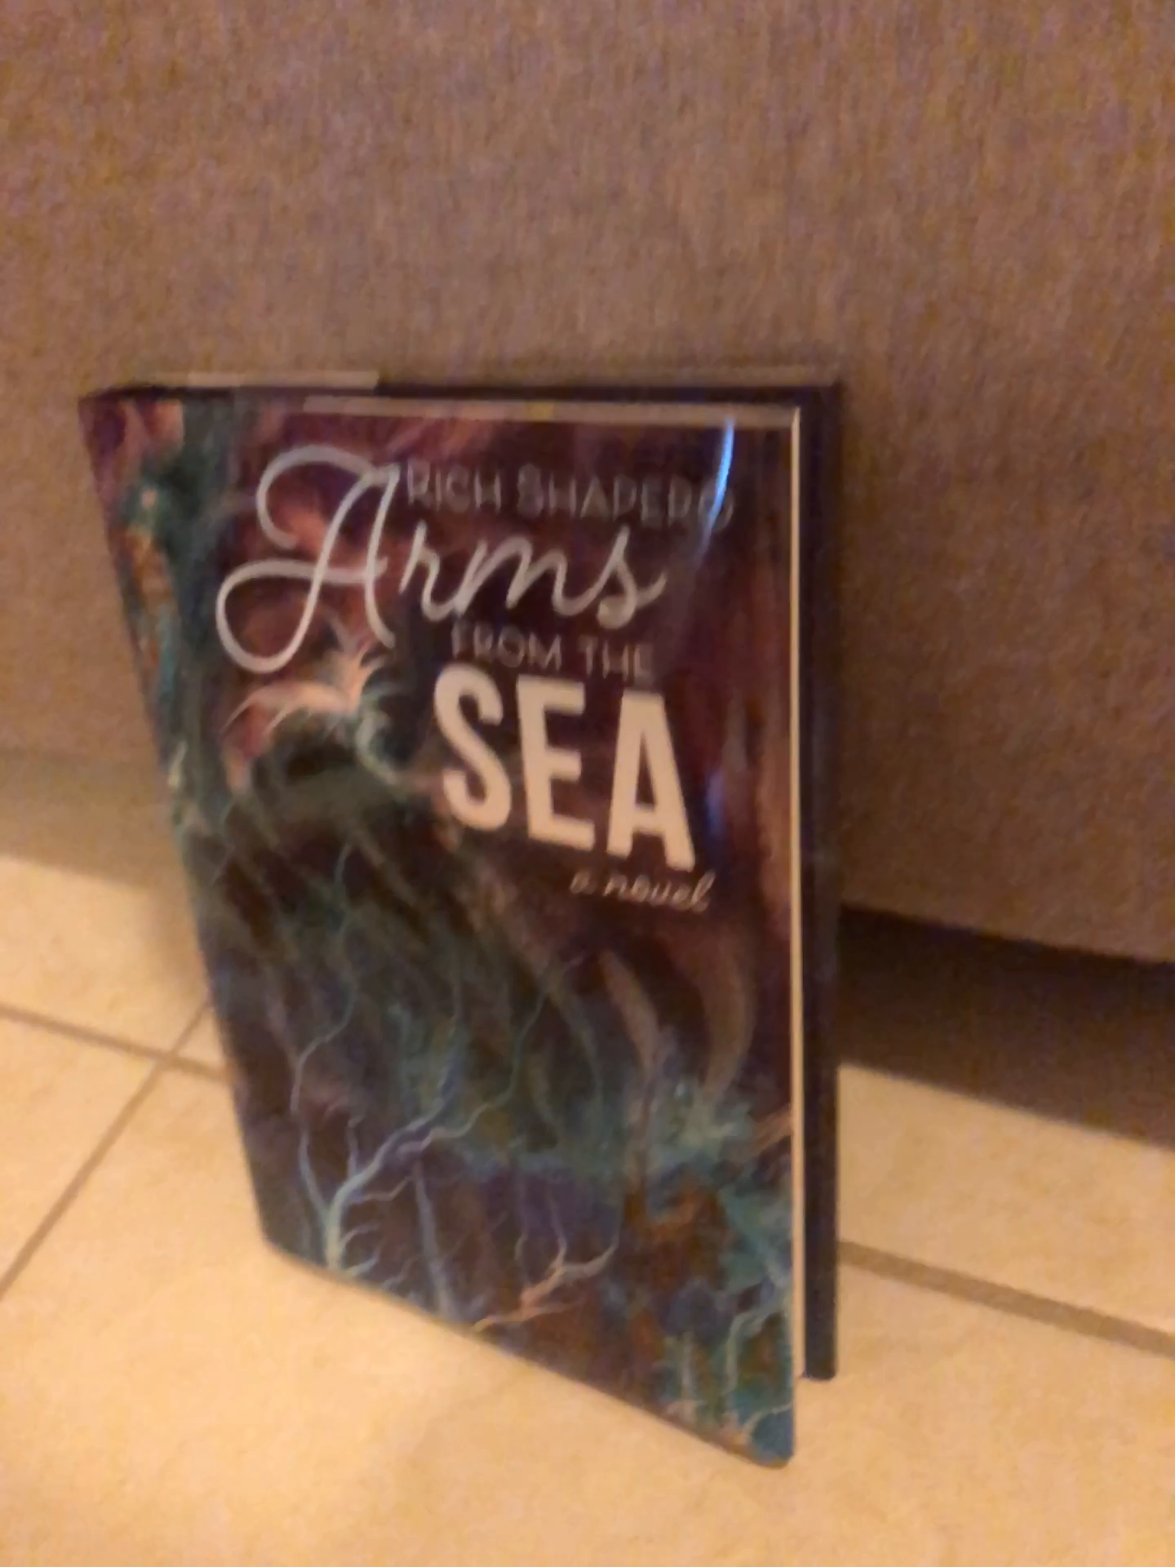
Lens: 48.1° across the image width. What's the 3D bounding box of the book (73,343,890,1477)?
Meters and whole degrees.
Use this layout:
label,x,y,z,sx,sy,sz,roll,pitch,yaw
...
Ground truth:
label,x,y,z,sx,sy,sz,roll,pitch,yaw
book,-0.019,0.026,0.283,0.157,0.227,0.030,10,28,28
